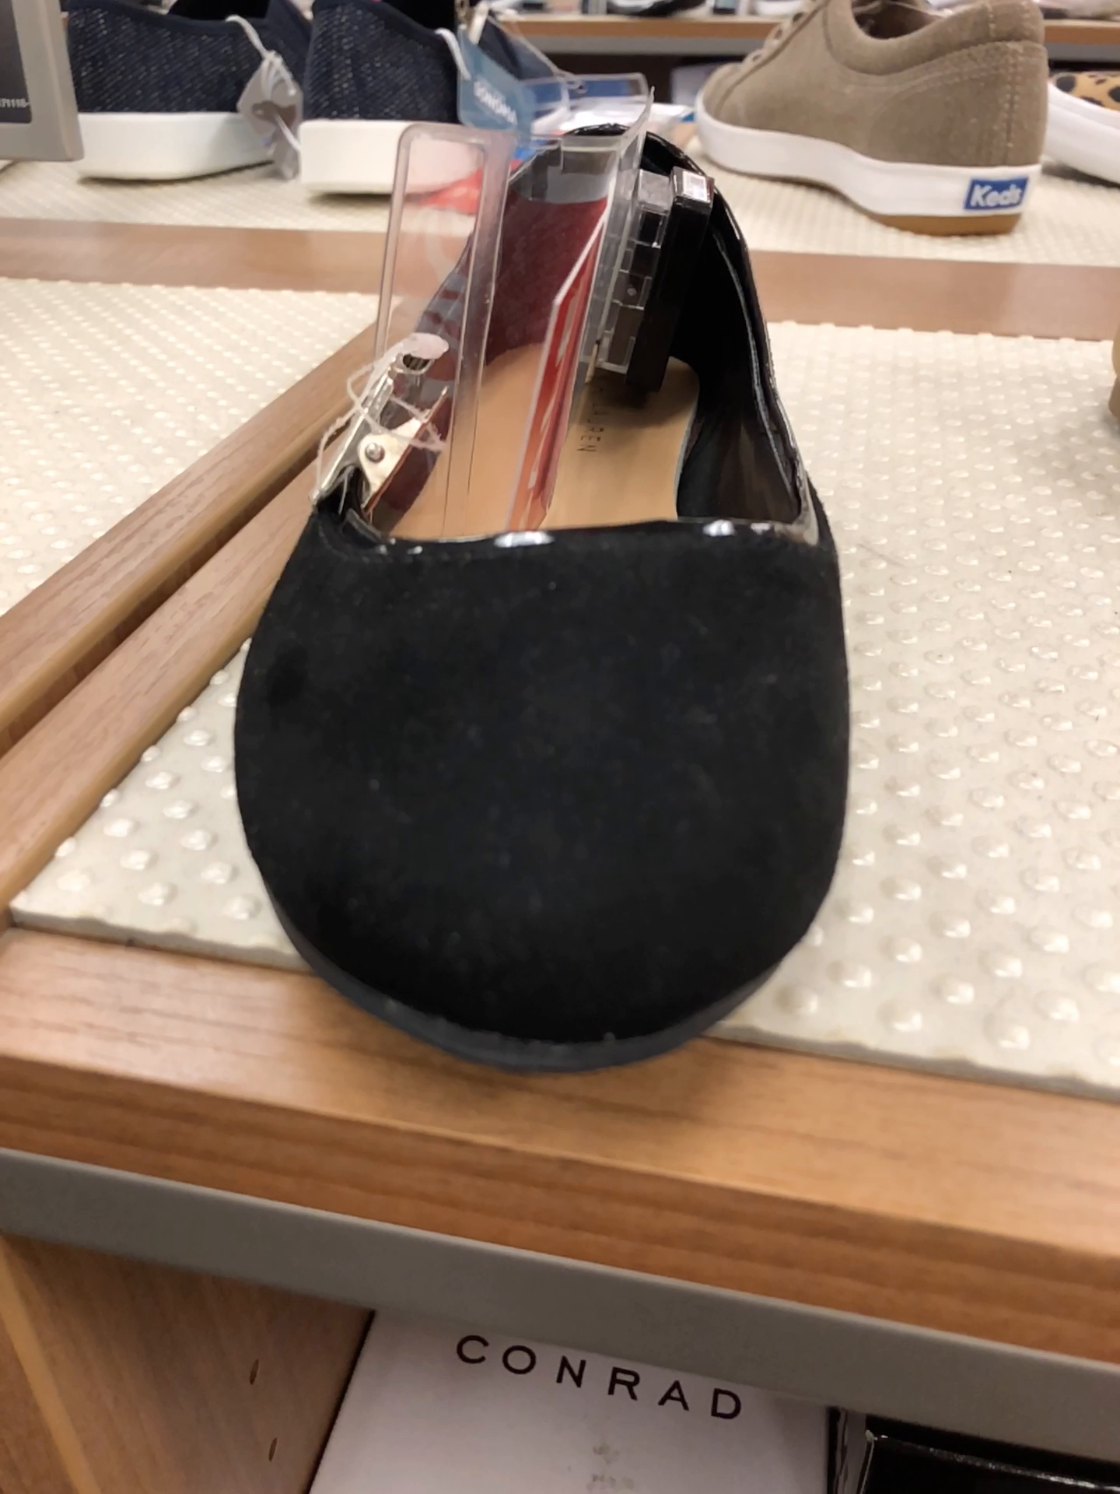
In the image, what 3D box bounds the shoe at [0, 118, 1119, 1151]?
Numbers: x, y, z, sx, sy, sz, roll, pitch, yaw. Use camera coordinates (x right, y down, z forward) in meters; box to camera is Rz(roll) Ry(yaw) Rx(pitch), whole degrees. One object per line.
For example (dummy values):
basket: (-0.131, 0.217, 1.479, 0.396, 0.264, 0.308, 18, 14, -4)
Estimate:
shoe: (0.009, -0.054, 0.208, 0.091, 0.064, 0.239, 3, 33, 4)
